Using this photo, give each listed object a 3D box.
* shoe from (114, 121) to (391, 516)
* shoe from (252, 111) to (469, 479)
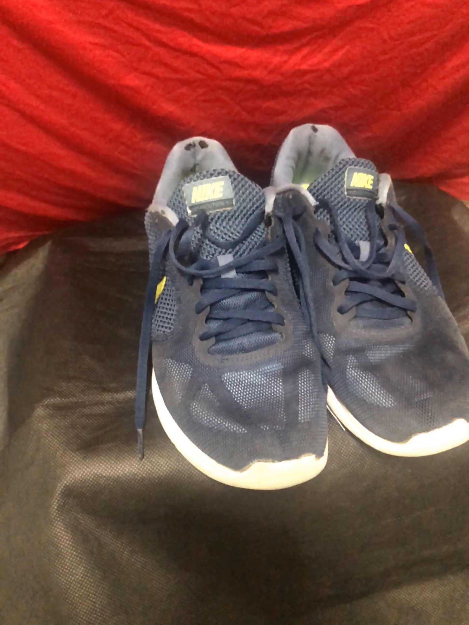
[{"bbox_3d":[-0.009,-0.016,0.327,0.110,0.099,0.232,-8,46,-7],"label":"shoe"},{"bbox_3d":[0.093,-0.035,0.363,0.110,0.089,0.262,-8,46,-7],"label":"shoe"}]
